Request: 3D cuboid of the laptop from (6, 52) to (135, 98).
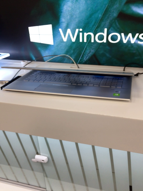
[{"bbox_3d":[0.010,-0.093,0.738,0.437,0.069,0.219,6,30,14],"label":"laptop"}]
